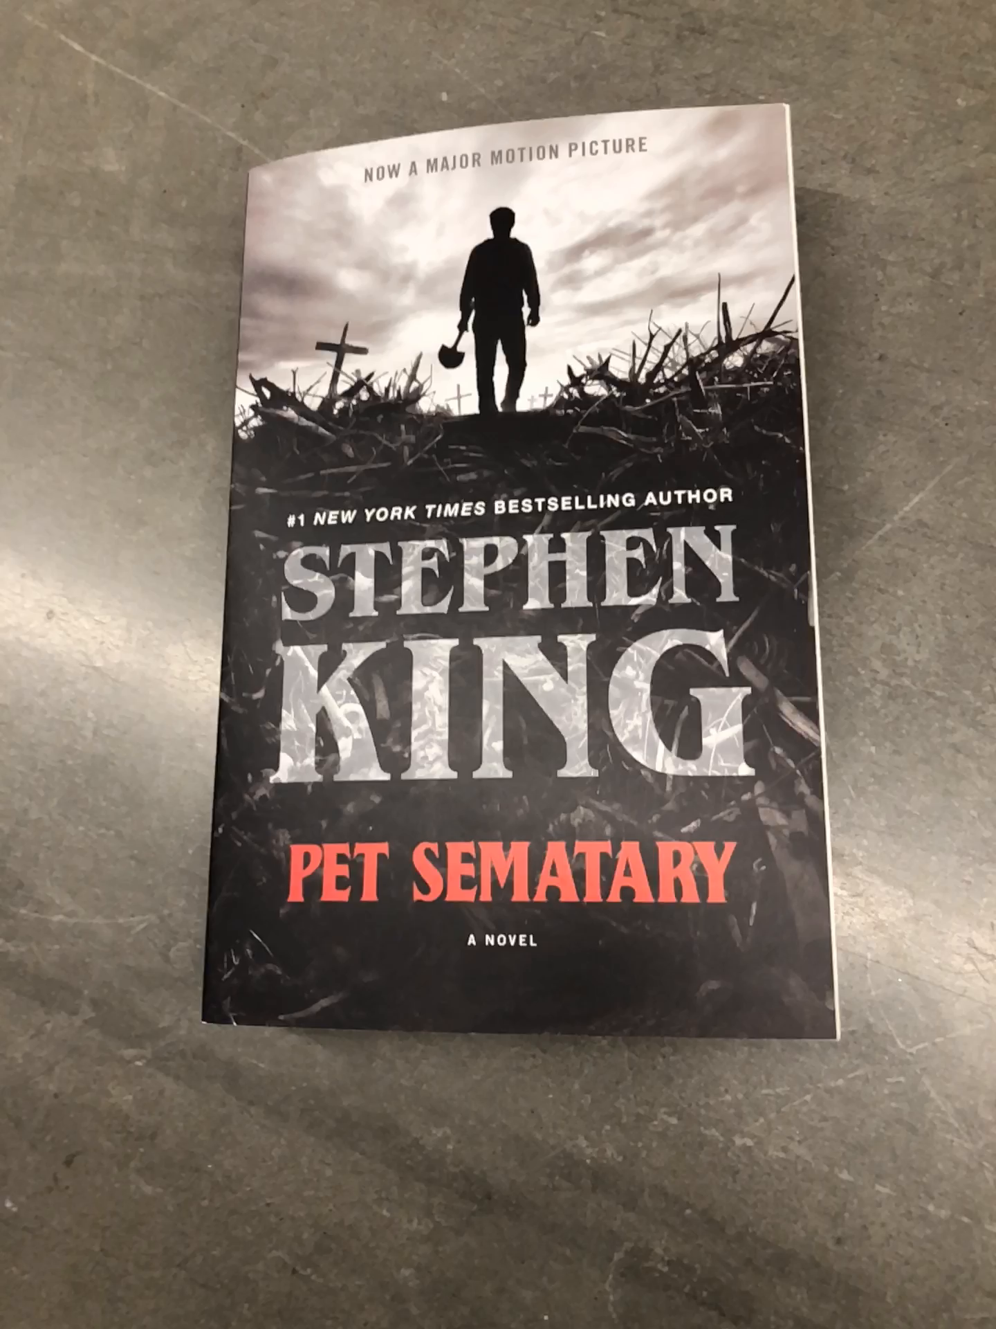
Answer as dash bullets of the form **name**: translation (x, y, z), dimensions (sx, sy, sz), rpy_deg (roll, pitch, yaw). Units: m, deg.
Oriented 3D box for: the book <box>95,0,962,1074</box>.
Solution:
- **book**: translation (0.004, -0.034, 0.239), dimensions (0.160, 0.050, 0.220), rpy_deg (-1, 83, 9)
